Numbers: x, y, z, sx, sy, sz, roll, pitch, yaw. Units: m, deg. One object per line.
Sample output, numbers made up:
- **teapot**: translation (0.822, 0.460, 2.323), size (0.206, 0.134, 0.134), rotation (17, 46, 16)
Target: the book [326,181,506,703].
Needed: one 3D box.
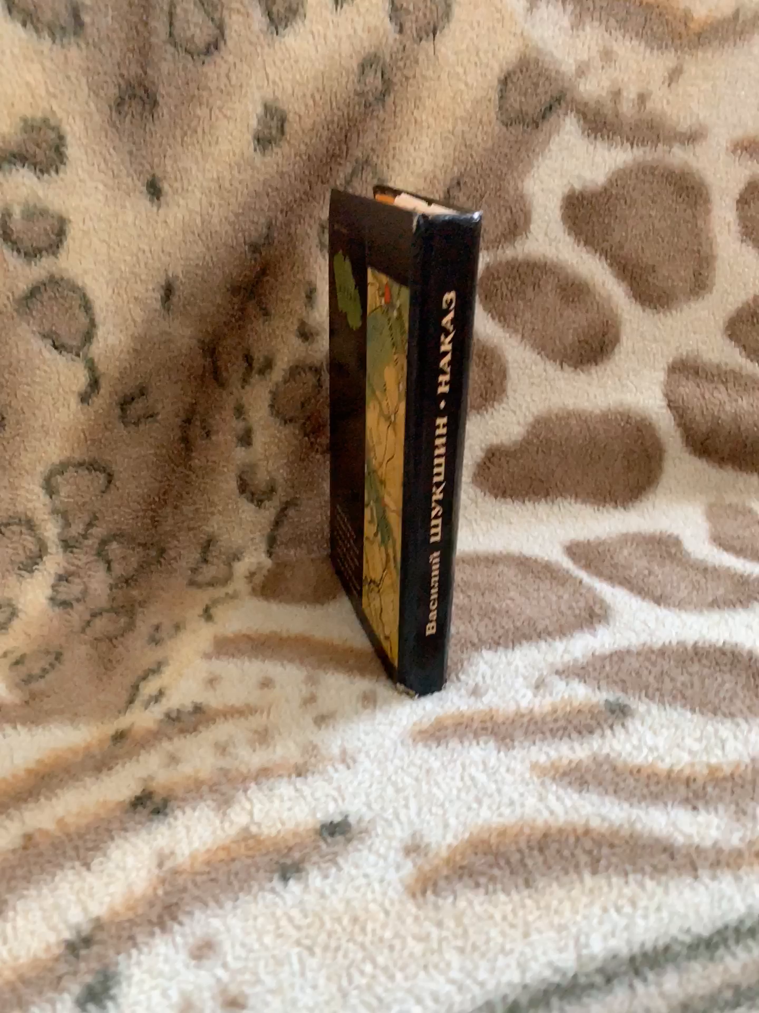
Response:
- **book**: translation (0.006, -0.035, 0.355), size (0.030, 0.198, 0.131), rotation (-6, 27, -16)
